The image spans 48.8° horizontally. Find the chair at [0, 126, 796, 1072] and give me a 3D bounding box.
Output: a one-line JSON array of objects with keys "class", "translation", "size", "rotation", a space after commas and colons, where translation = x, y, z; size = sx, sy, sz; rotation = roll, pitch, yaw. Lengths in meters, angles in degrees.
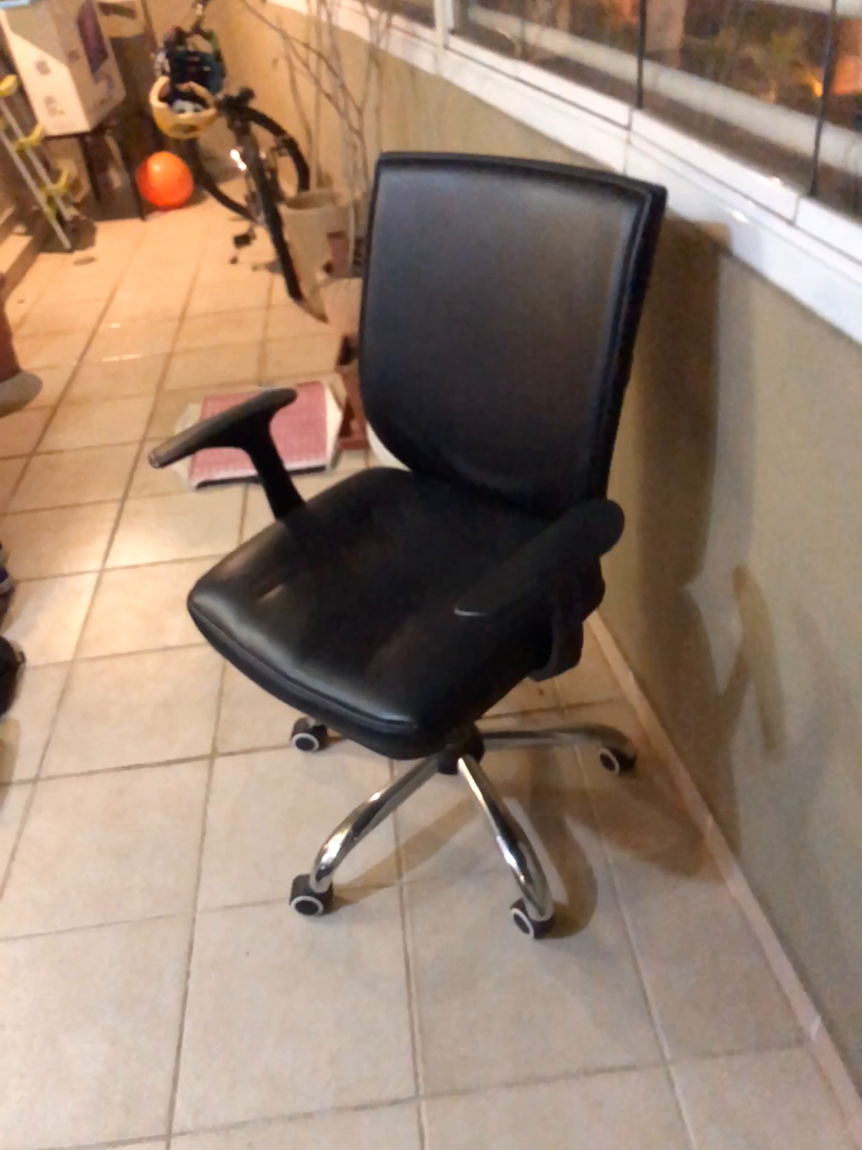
[{"class": "chair", "translation": [-0.024, -0.021, 1.318], "size": [0.663, 0.932, 0.663], "rotation": [26, 47, 37]}]
